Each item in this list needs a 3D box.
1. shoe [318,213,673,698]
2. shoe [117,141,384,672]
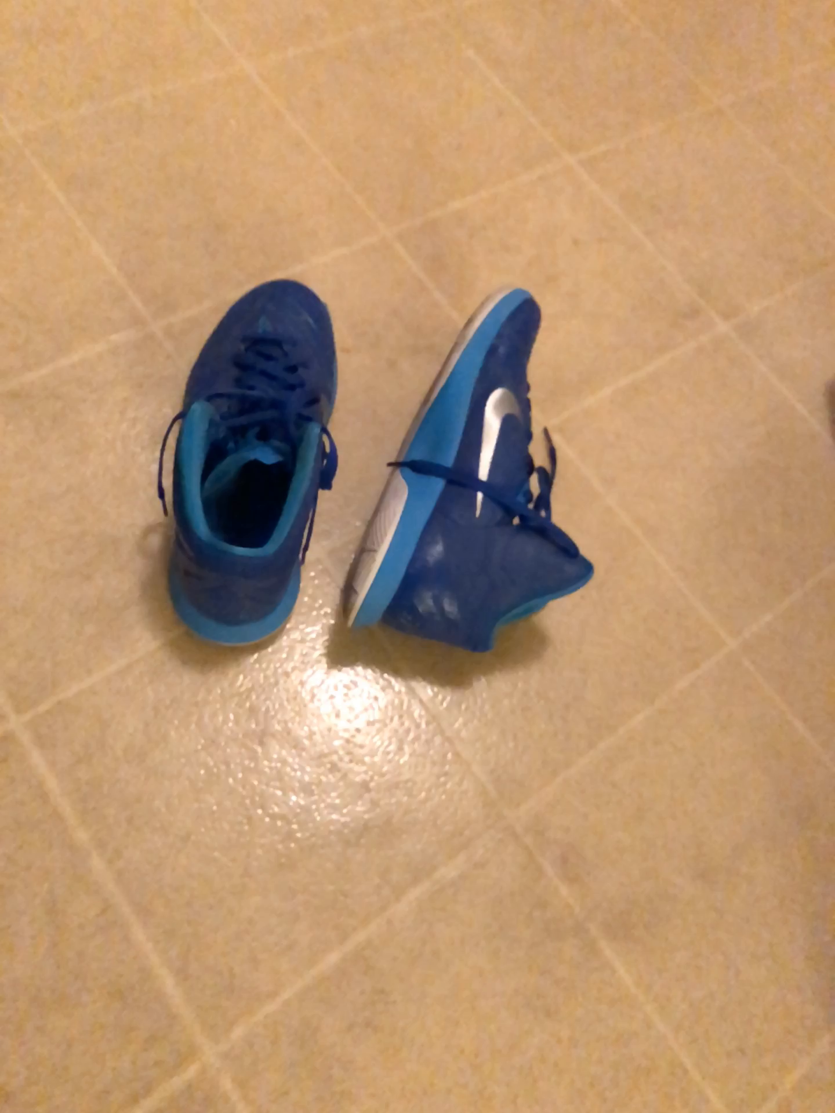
[{"bbox_3d":[0.060,-0.072,0.652,0.159,0.120,0.282,22,61,-8],"label":"shoe"},{"bbox_3d":[-0.104,-0.100,0.620,0.120,0.144,0.311,8,63,-9],"label":"shoe"}]
